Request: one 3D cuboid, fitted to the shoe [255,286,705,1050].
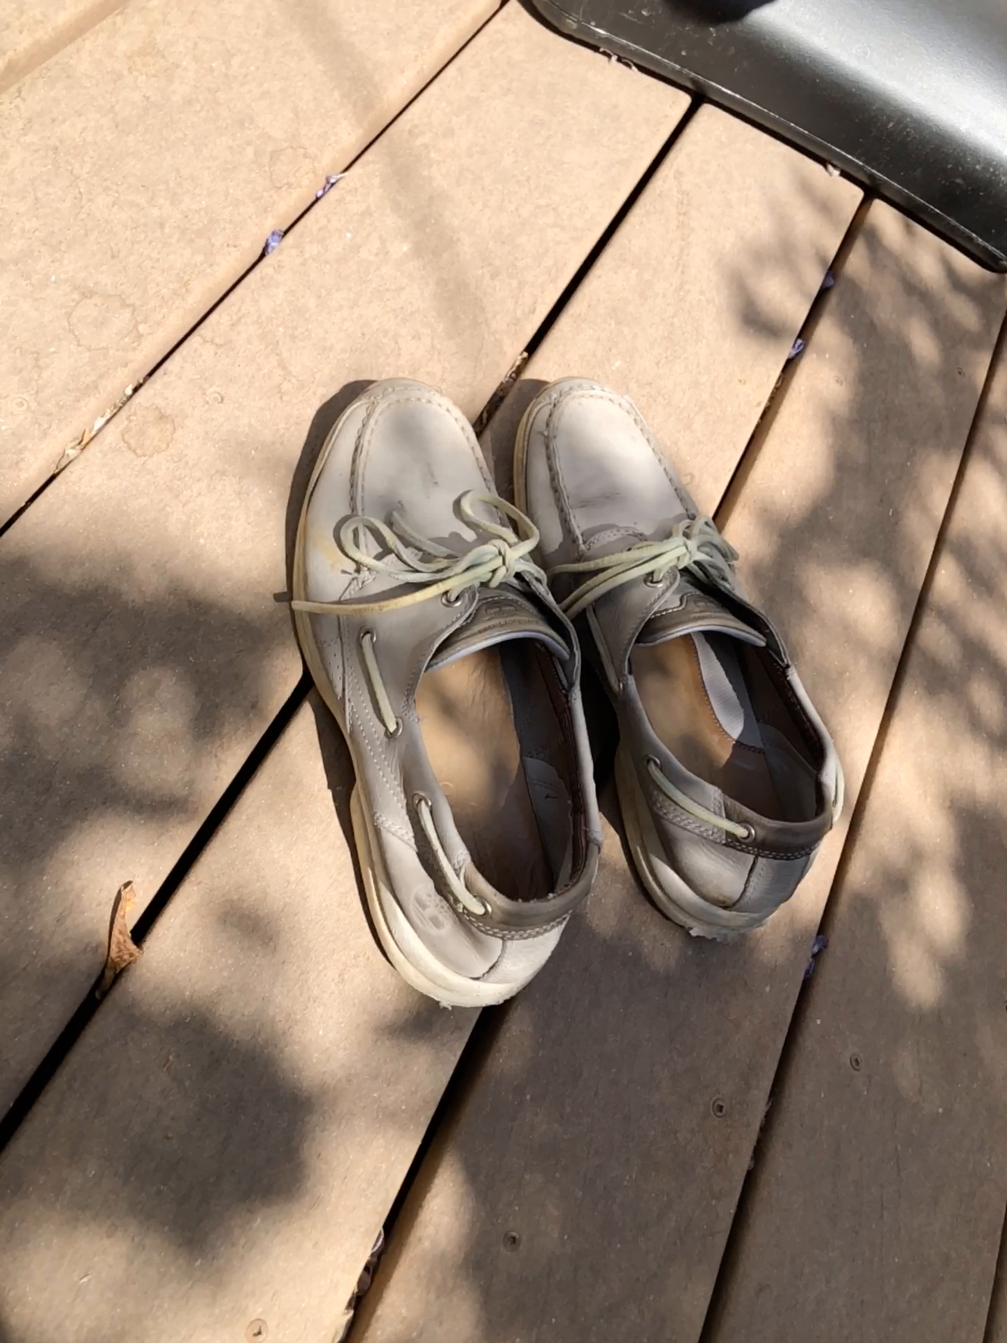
[{"bbox_3d":[-0.021,-0.010,0.459,0.109,0.076,0.293,-3,68,-27],"label":"shoe"}]

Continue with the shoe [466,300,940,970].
[{"bbox_3d":[0.083,-0.026,0.518,0.109,0.076,0.293,-6,70,-28],"label":"shoe"}]
